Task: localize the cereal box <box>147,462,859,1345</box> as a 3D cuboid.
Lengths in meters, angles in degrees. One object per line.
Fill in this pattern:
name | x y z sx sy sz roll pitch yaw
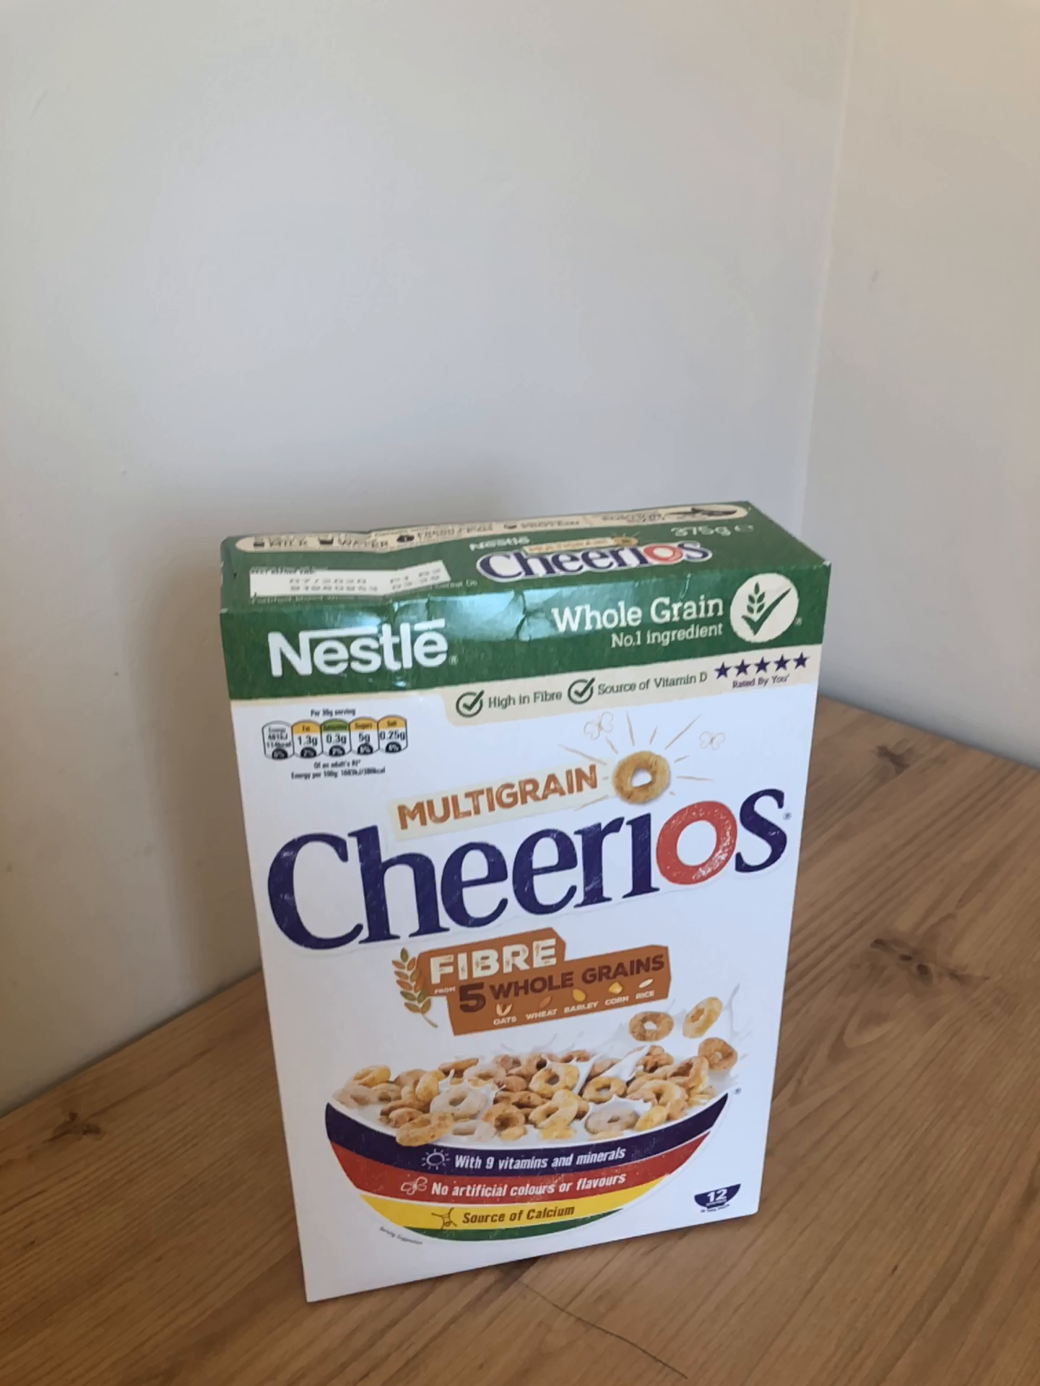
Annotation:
cereal box | -0.007 0.082 0.433 0.210 0.308 0.080 -6 25 -12
